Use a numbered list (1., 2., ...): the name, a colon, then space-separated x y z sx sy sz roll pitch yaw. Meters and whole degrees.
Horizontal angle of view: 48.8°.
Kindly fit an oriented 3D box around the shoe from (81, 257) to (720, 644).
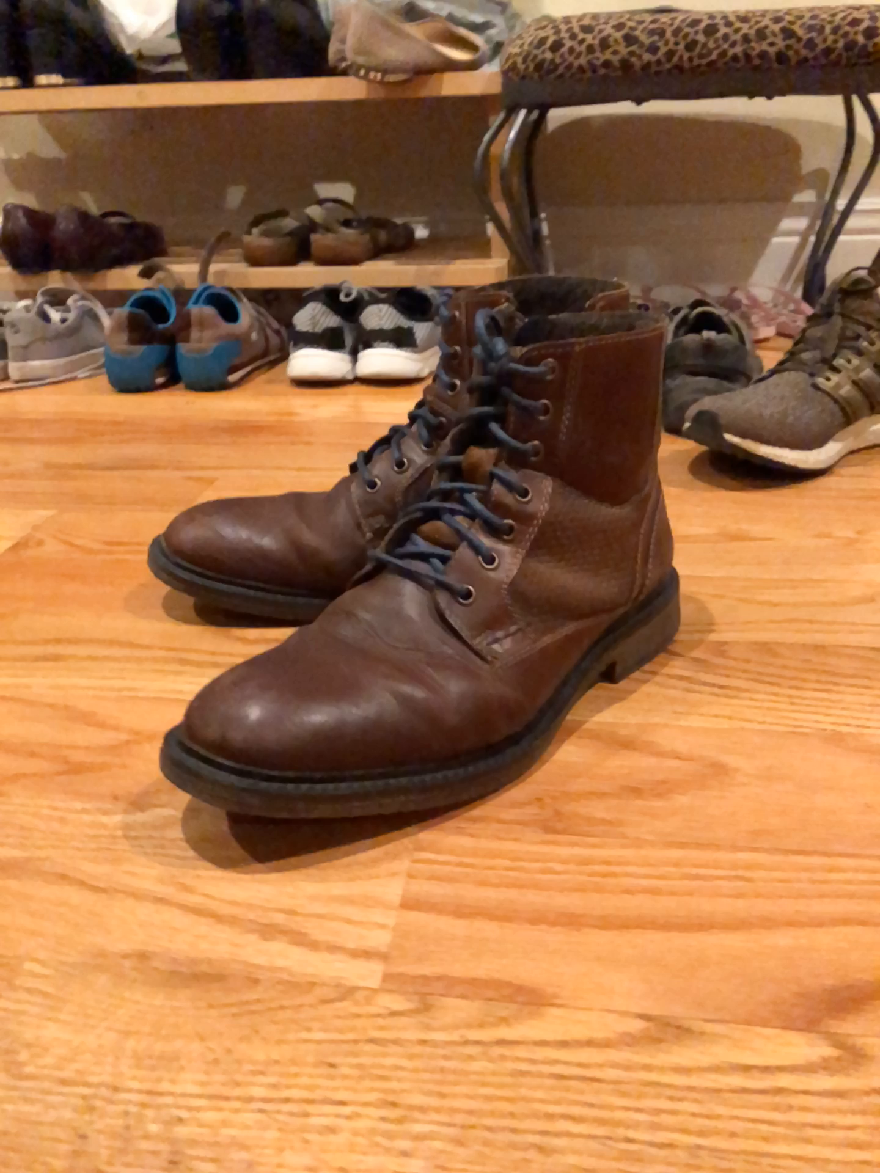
1. shoe: -0.019 -0.085 0.551 0.310 0.168 0.113 -6 25 -8

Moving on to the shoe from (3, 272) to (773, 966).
1. shoe: 0.006 -0.023 0.423 0.128 0.176 0.304 20 33 39
